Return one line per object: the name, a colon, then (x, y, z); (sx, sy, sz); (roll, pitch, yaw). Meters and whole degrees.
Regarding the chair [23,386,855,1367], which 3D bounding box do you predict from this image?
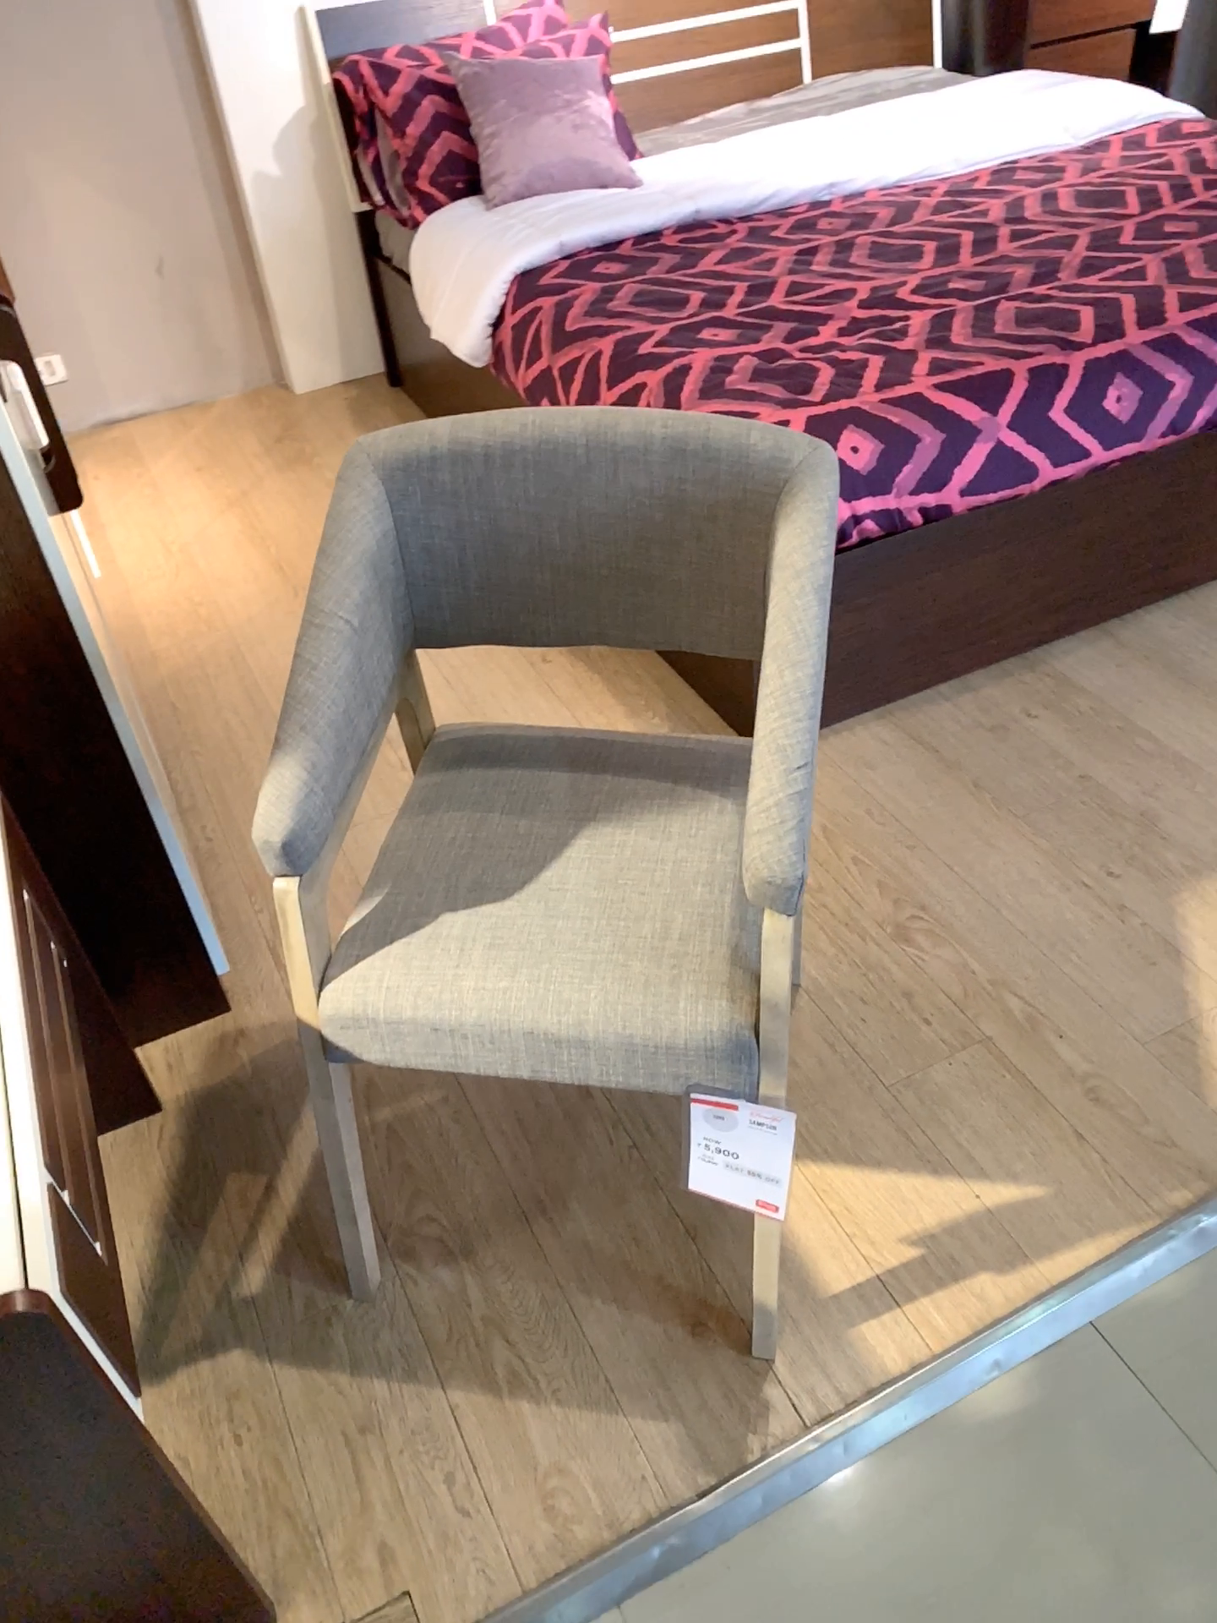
chair: (-0.052, 0.068, 1.287); (0.560, 0.797, 0.582); (3, 41, 11)
